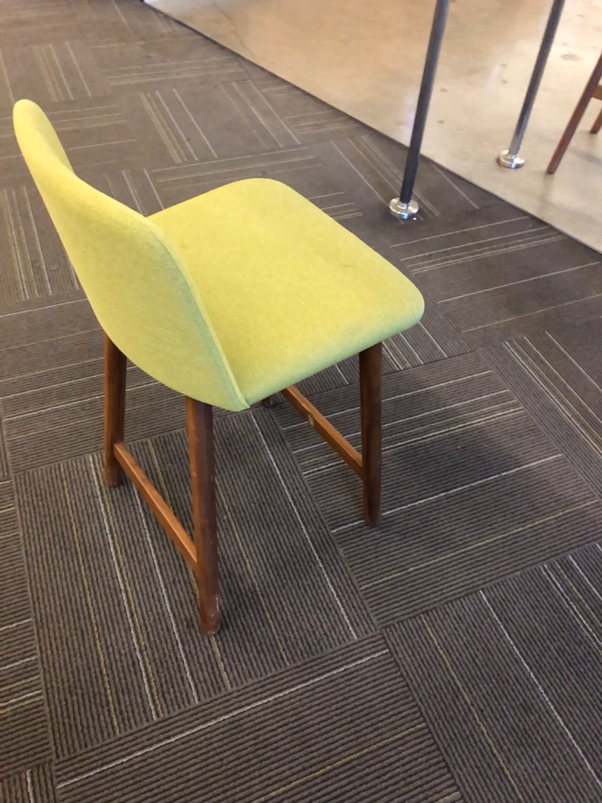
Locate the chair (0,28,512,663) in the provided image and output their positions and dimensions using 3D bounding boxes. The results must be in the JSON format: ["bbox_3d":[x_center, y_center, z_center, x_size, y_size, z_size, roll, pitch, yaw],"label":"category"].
[{"bbox_3d":[-0.102,-0.056,1.153,0.511,0.876,0.461,-27,54,-26],"label":"chair"}]
